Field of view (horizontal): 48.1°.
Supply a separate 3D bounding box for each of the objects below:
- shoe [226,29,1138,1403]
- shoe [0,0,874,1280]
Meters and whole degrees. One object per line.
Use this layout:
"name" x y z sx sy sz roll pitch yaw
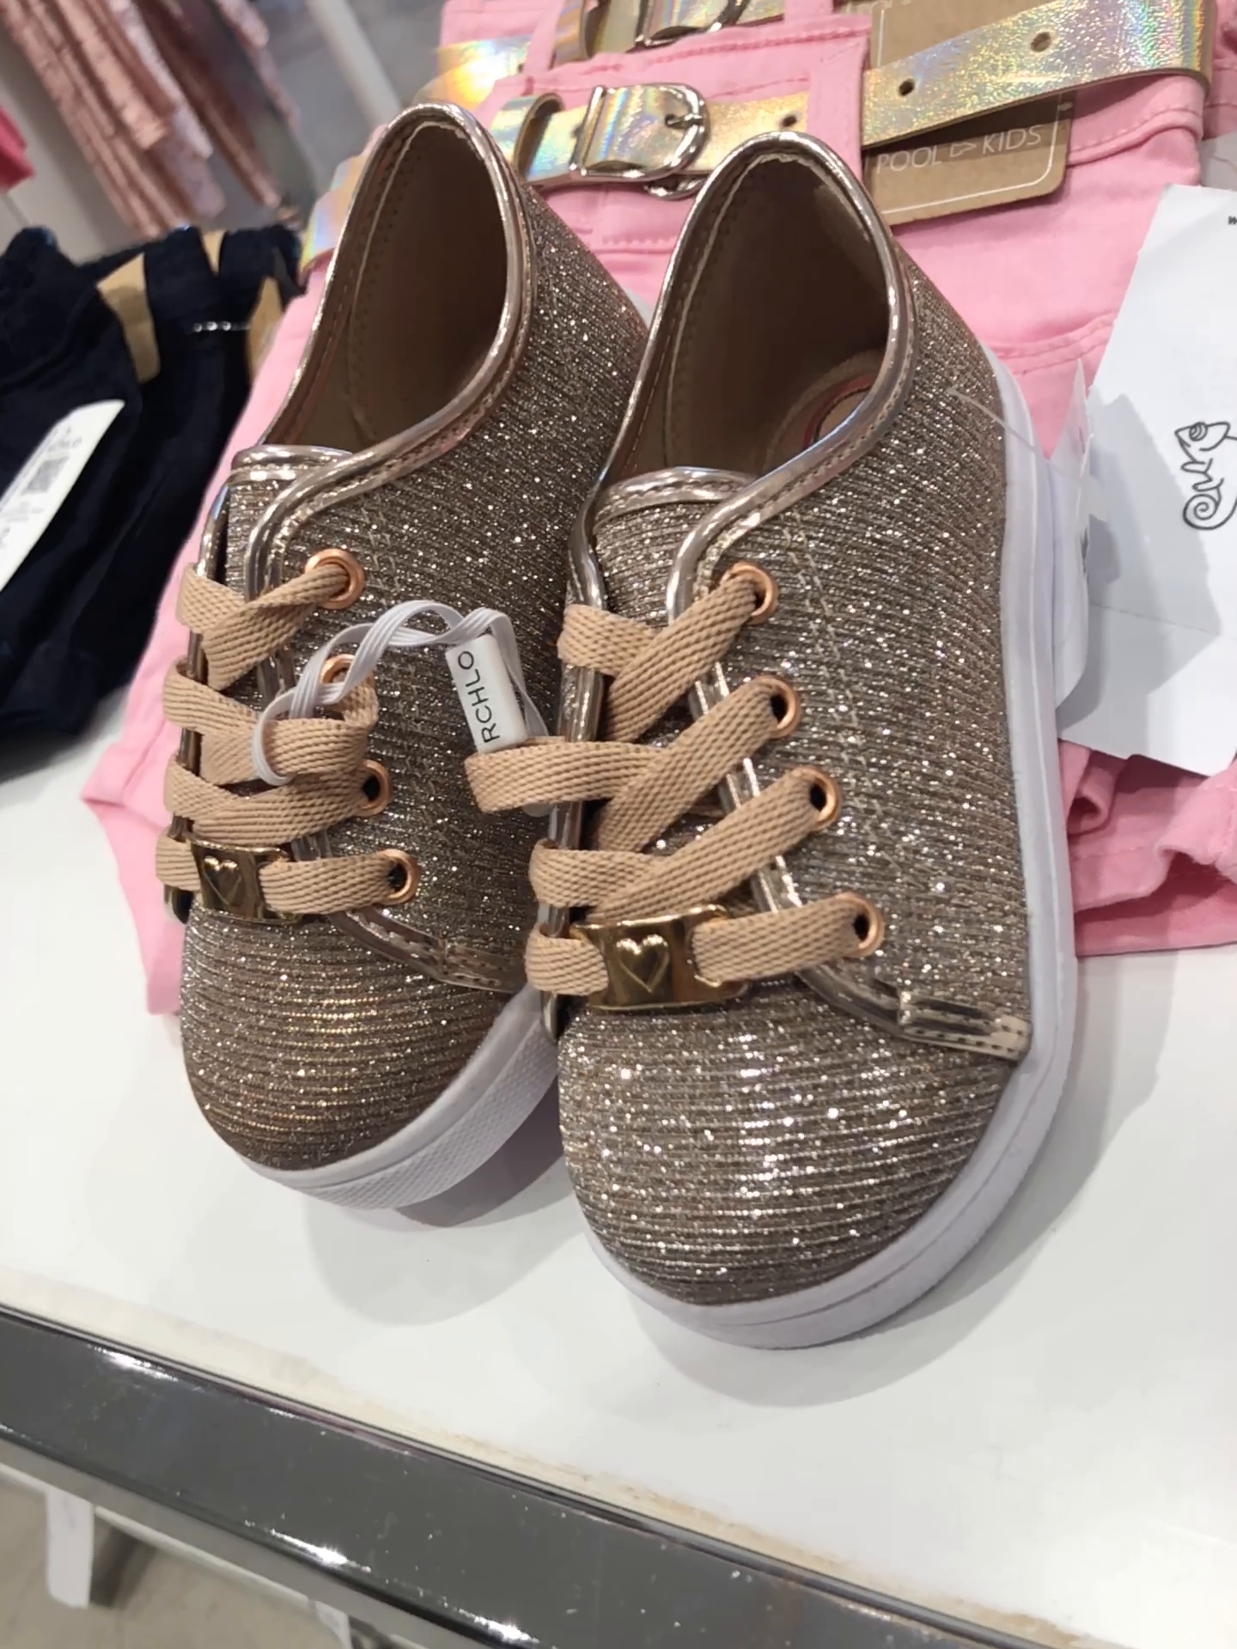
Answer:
"shoe" 0.026 -0.018 0.204 0.080 0.079 0.171 -7 54 29
"shoe" -0.022 -0.026 0.224 0.070 0.080 0.170 2 70 36
